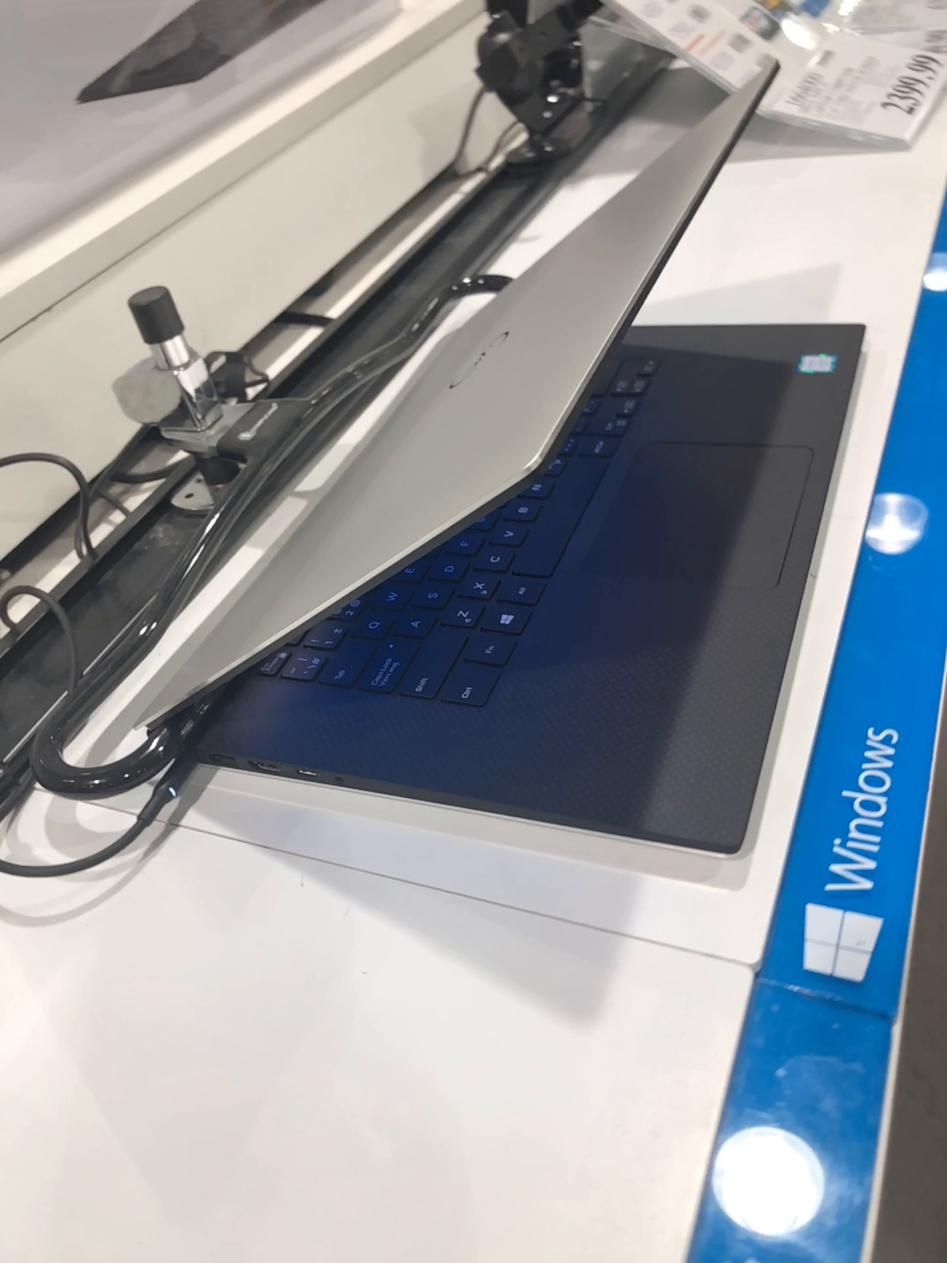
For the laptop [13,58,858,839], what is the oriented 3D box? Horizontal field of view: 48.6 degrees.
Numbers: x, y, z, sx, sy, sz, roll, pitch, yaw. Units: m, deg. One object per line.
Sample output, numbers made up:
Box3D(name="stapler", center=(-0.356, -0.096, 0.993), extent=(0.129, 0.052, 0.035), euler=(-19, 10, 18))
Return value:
Box3D(name="laptop", center=(0.028, -0.109, 0.440), extent=(0.217, 0.133, 0.346), euler=(6, 42, 22))
